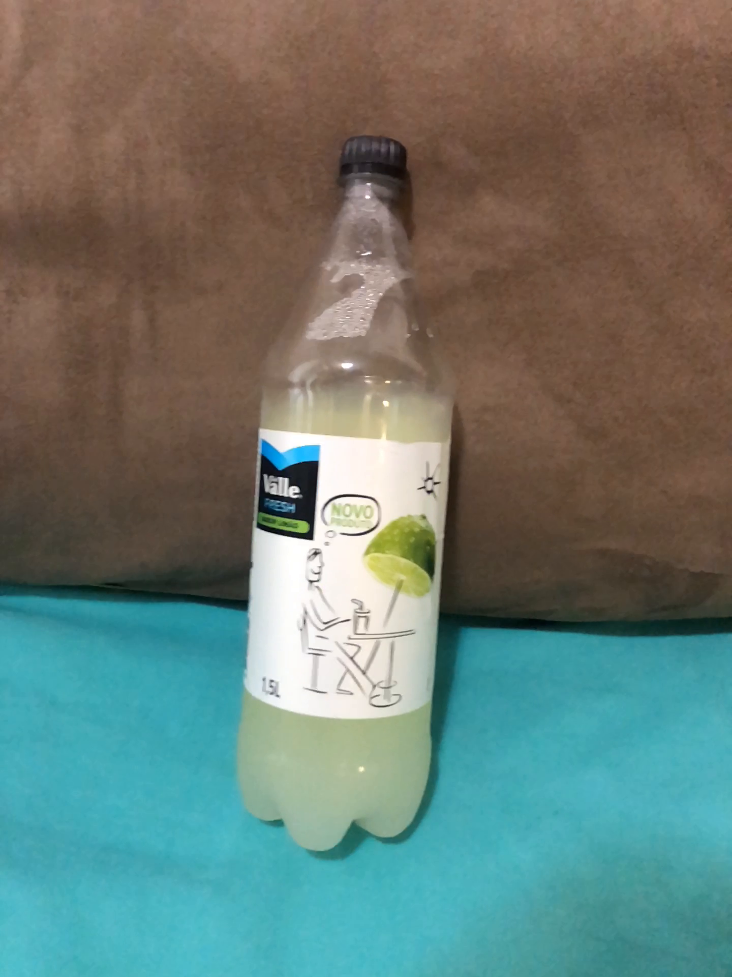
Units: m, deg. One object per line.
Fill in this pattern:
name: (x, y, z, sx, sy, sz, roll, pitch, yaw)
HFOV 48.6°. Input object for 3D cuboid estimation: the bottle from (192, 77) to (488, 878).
bottle: (-0.003, -0.011, 0.387, 0.100, 0.331, 0.100, 4, -6, 0)
